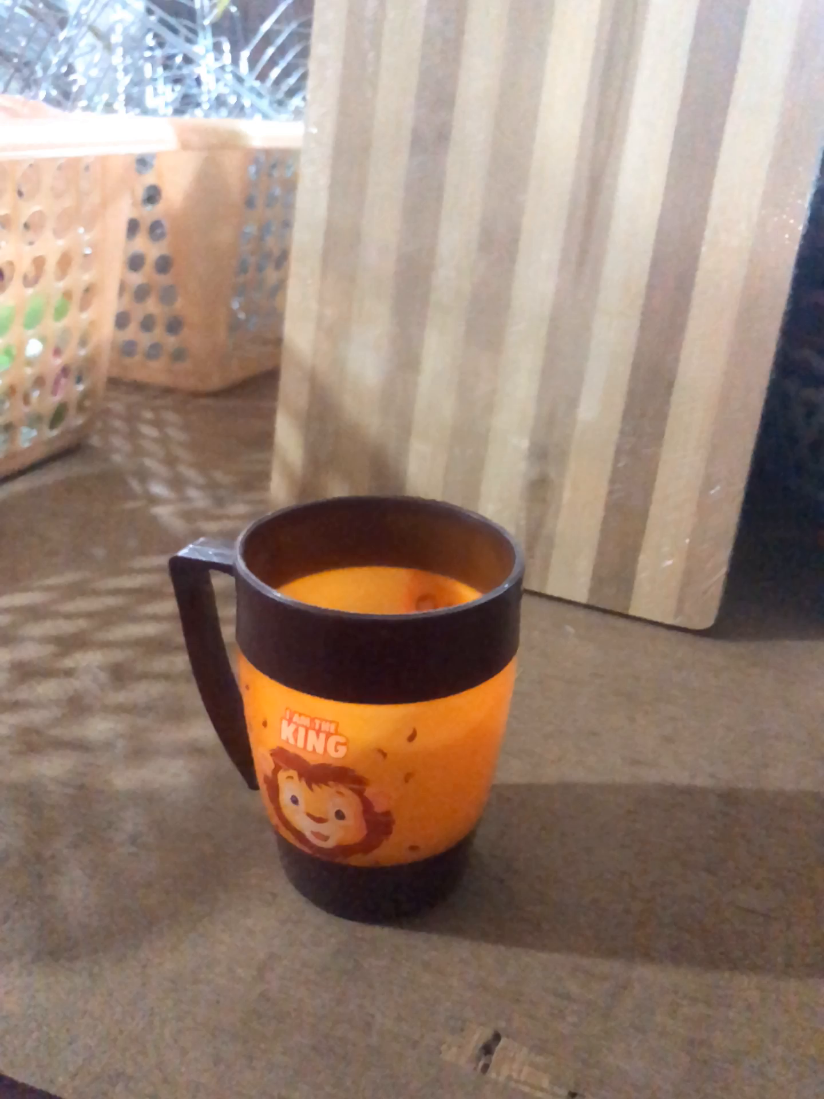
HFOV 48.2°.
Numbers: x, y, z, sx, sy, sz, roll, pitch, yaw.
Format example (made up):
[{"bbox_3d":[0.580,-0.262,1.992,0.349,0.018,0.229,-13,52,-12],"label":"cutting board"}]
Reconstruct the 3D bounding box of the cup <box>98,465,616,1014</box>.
[{"bbox_3d":[-0.012,0.039,0.227,0.100,0.090,0.060,13,28,23],"label":"cup"}]
